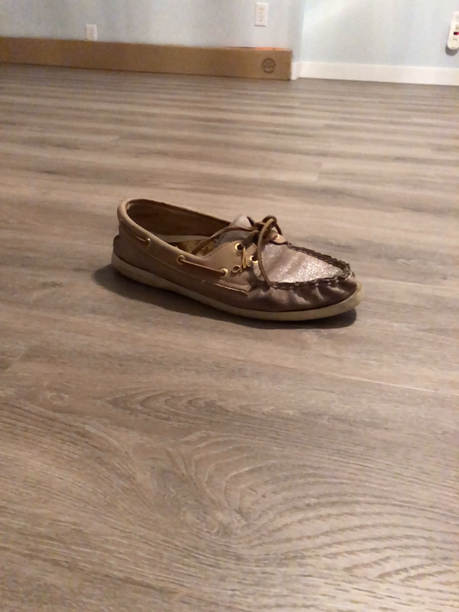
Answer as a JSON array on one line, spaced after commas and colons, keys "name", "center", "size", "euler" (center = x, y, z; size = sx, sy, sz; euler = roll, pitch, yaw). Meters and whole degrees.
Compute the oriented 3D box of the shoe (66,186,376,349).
[{"name": "shoe", "center": [-0.009, -0.045, 0.458], "size": [0.250, 0.070, 0.100], "euler": [13, 29, 20]}]
